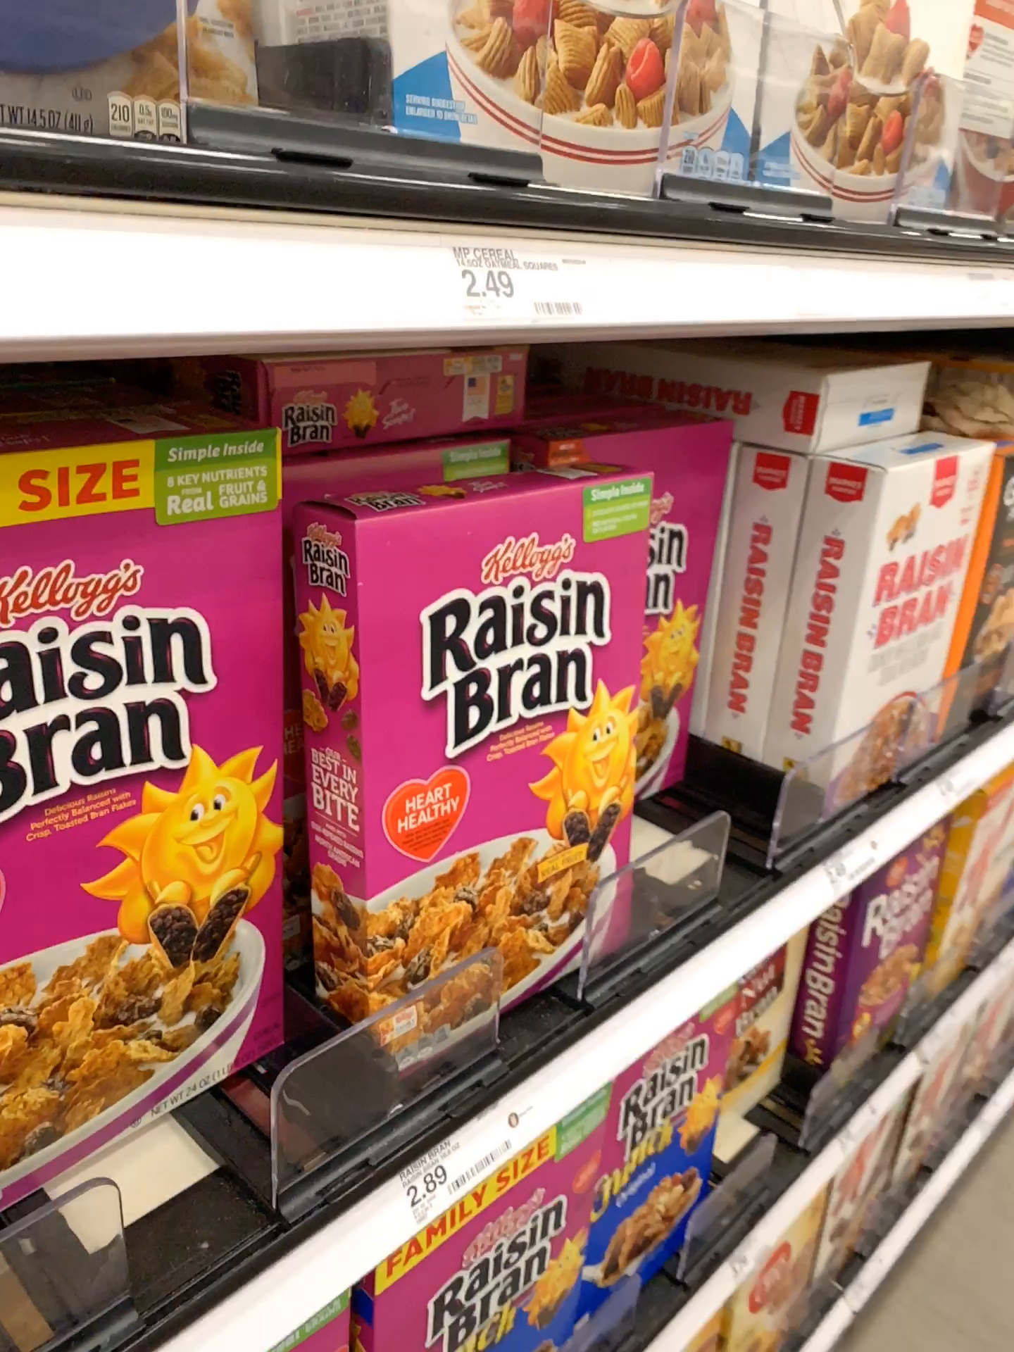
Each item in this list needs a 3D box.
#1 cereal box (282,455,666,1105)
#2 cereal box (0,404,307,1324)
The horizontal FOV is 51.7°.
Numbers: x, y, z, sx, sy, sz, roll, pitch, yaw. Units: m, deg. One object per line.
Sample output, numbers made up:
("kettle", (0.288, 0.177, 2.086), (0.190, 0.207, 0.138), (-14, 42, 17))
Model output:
("cereal box", (-0.008, 0.041, 0.532), (0.050, 0.279, 0.201), (19, 26, 40))
("cereal box", (-0.190, 0.057, 0.413), (0.060, 0.299, 0.221), (22, 28, 39))
